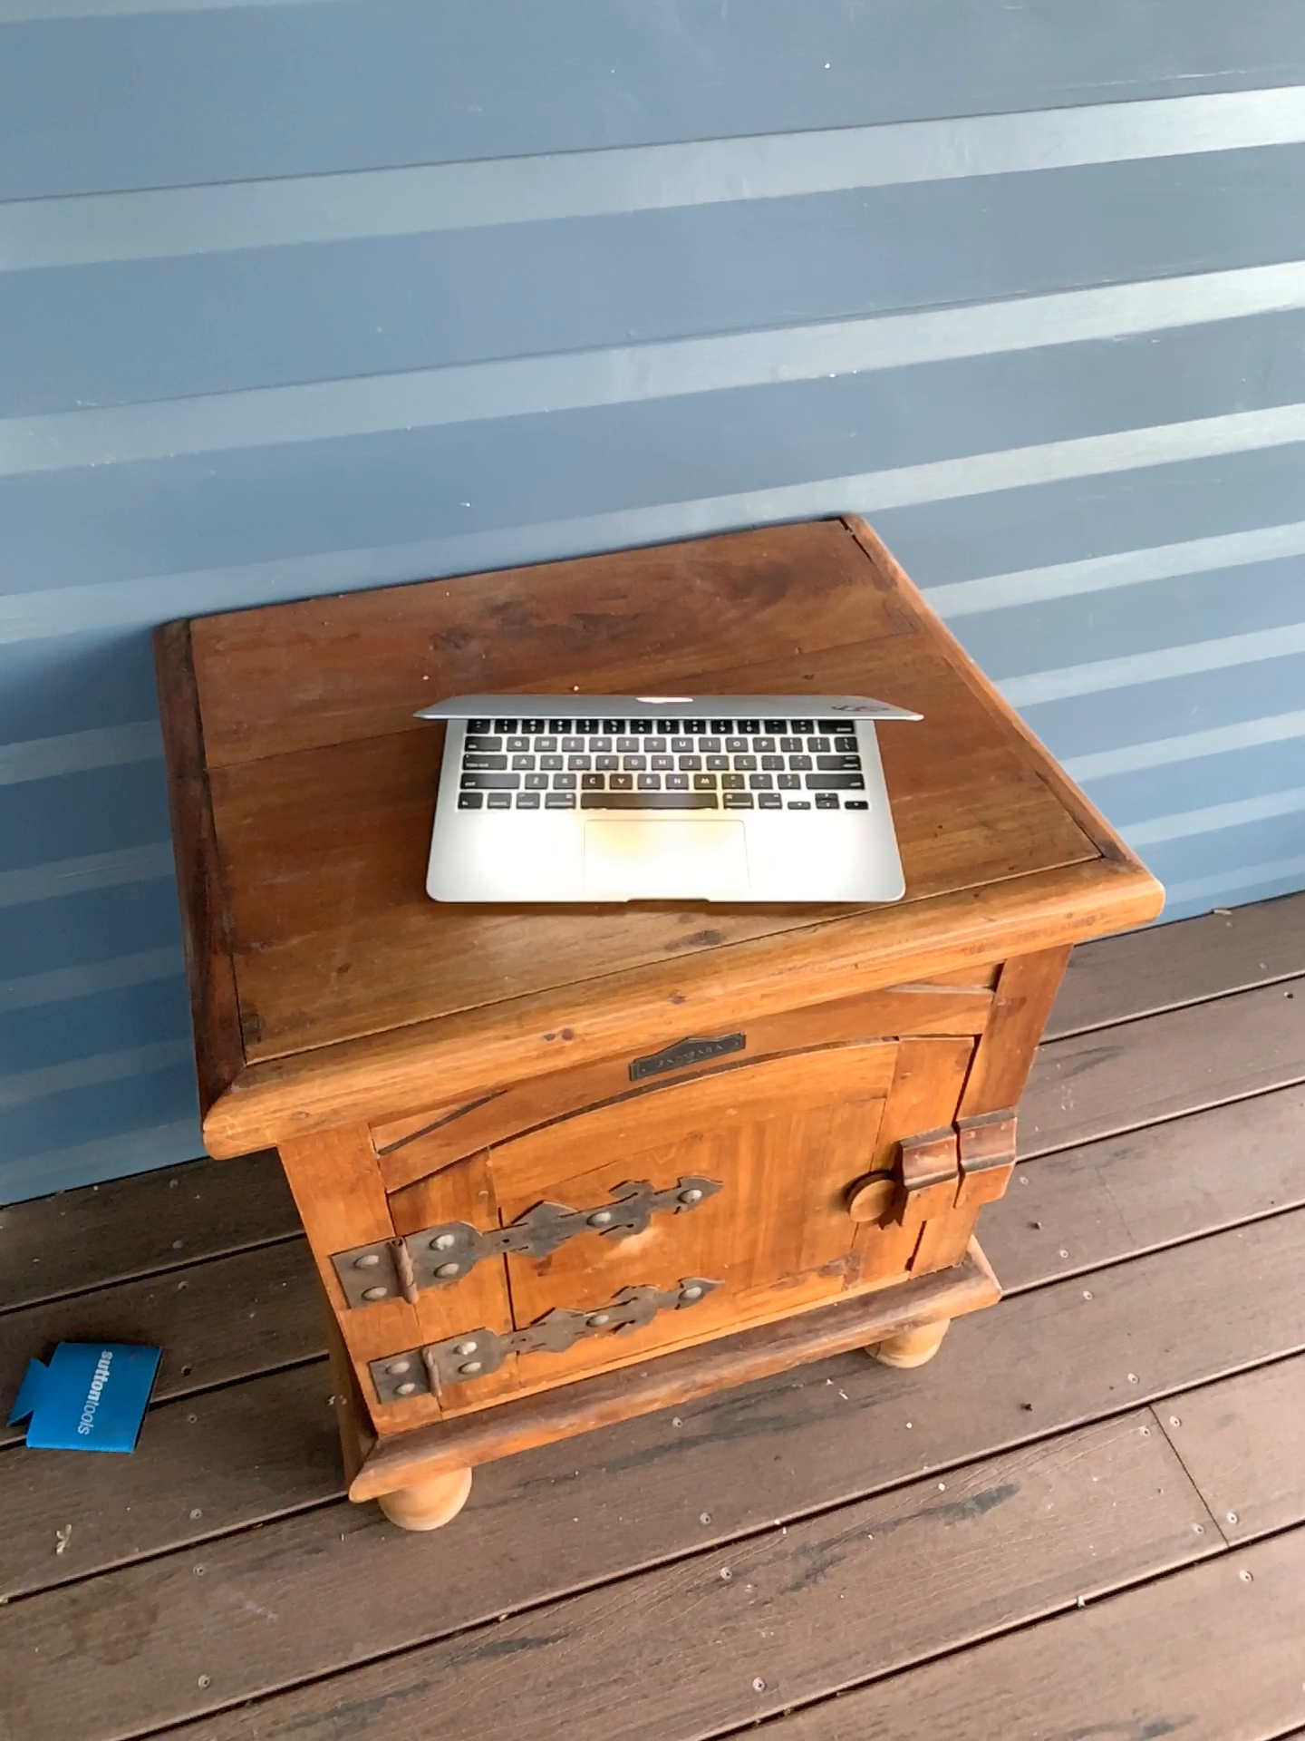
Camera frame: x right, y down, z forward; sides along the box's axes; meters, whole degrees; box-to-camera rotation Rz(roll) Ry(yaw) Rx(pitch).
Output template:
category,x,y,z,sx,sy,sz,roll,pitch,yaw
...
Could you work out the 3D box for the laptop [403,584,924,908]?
category,x,y,z,sx,sy,sz,roll,pitch,yaw
laptop,0.005,-0.080,0.818,0.282,0.099,0.181,-1,47,-1
